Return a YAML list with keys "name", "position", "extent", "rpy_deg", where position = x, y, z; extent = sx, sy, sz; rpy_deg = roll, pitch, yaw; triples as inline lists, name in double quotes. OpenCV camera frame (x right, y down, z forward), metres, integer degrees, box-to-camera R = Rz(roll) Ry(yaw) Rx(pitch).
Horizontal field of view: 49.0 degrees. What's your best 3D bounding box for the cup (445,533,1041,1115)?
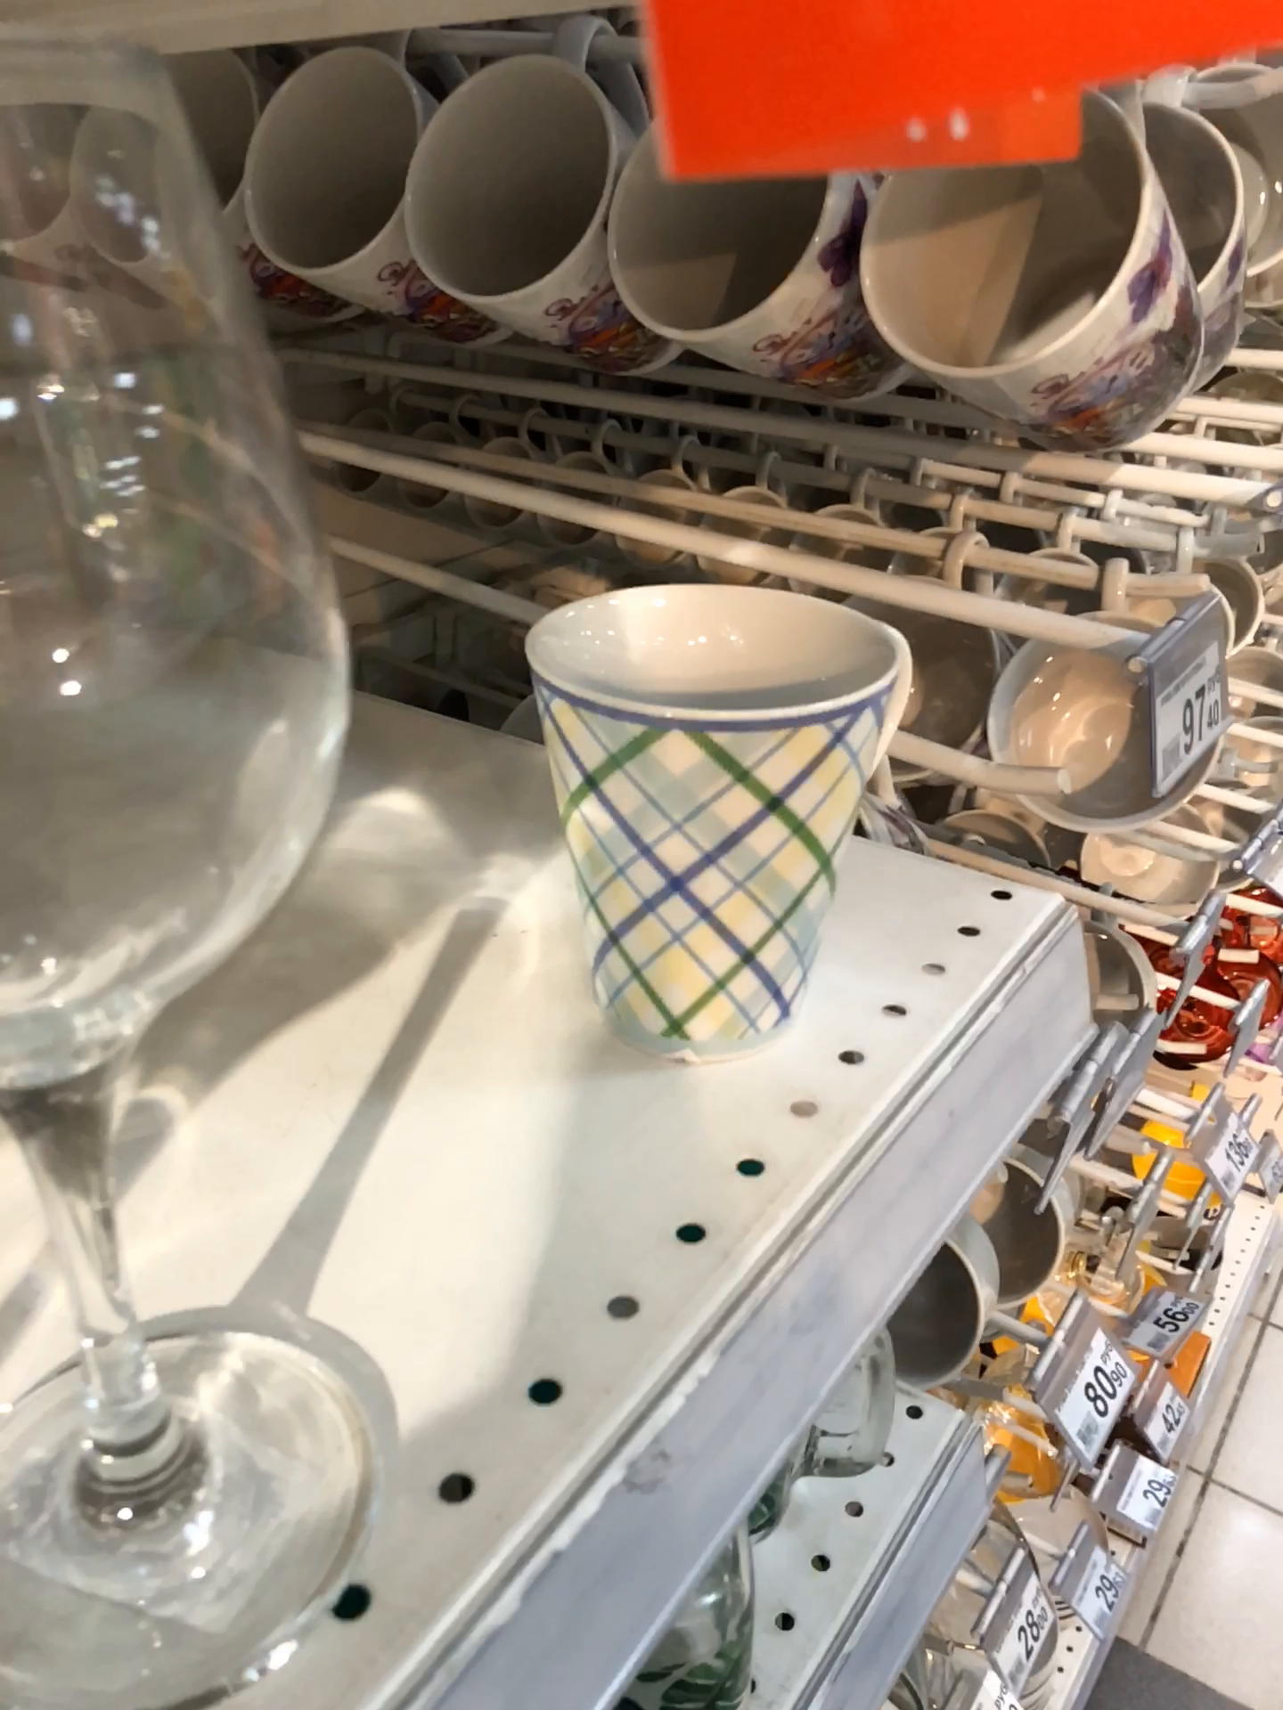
- name: "cup"
  position: [0.026, -0.017, 0.344]
  extent: [0.088, 0.085, 0.116]
  rpy_deg: [20, 33, 32]
